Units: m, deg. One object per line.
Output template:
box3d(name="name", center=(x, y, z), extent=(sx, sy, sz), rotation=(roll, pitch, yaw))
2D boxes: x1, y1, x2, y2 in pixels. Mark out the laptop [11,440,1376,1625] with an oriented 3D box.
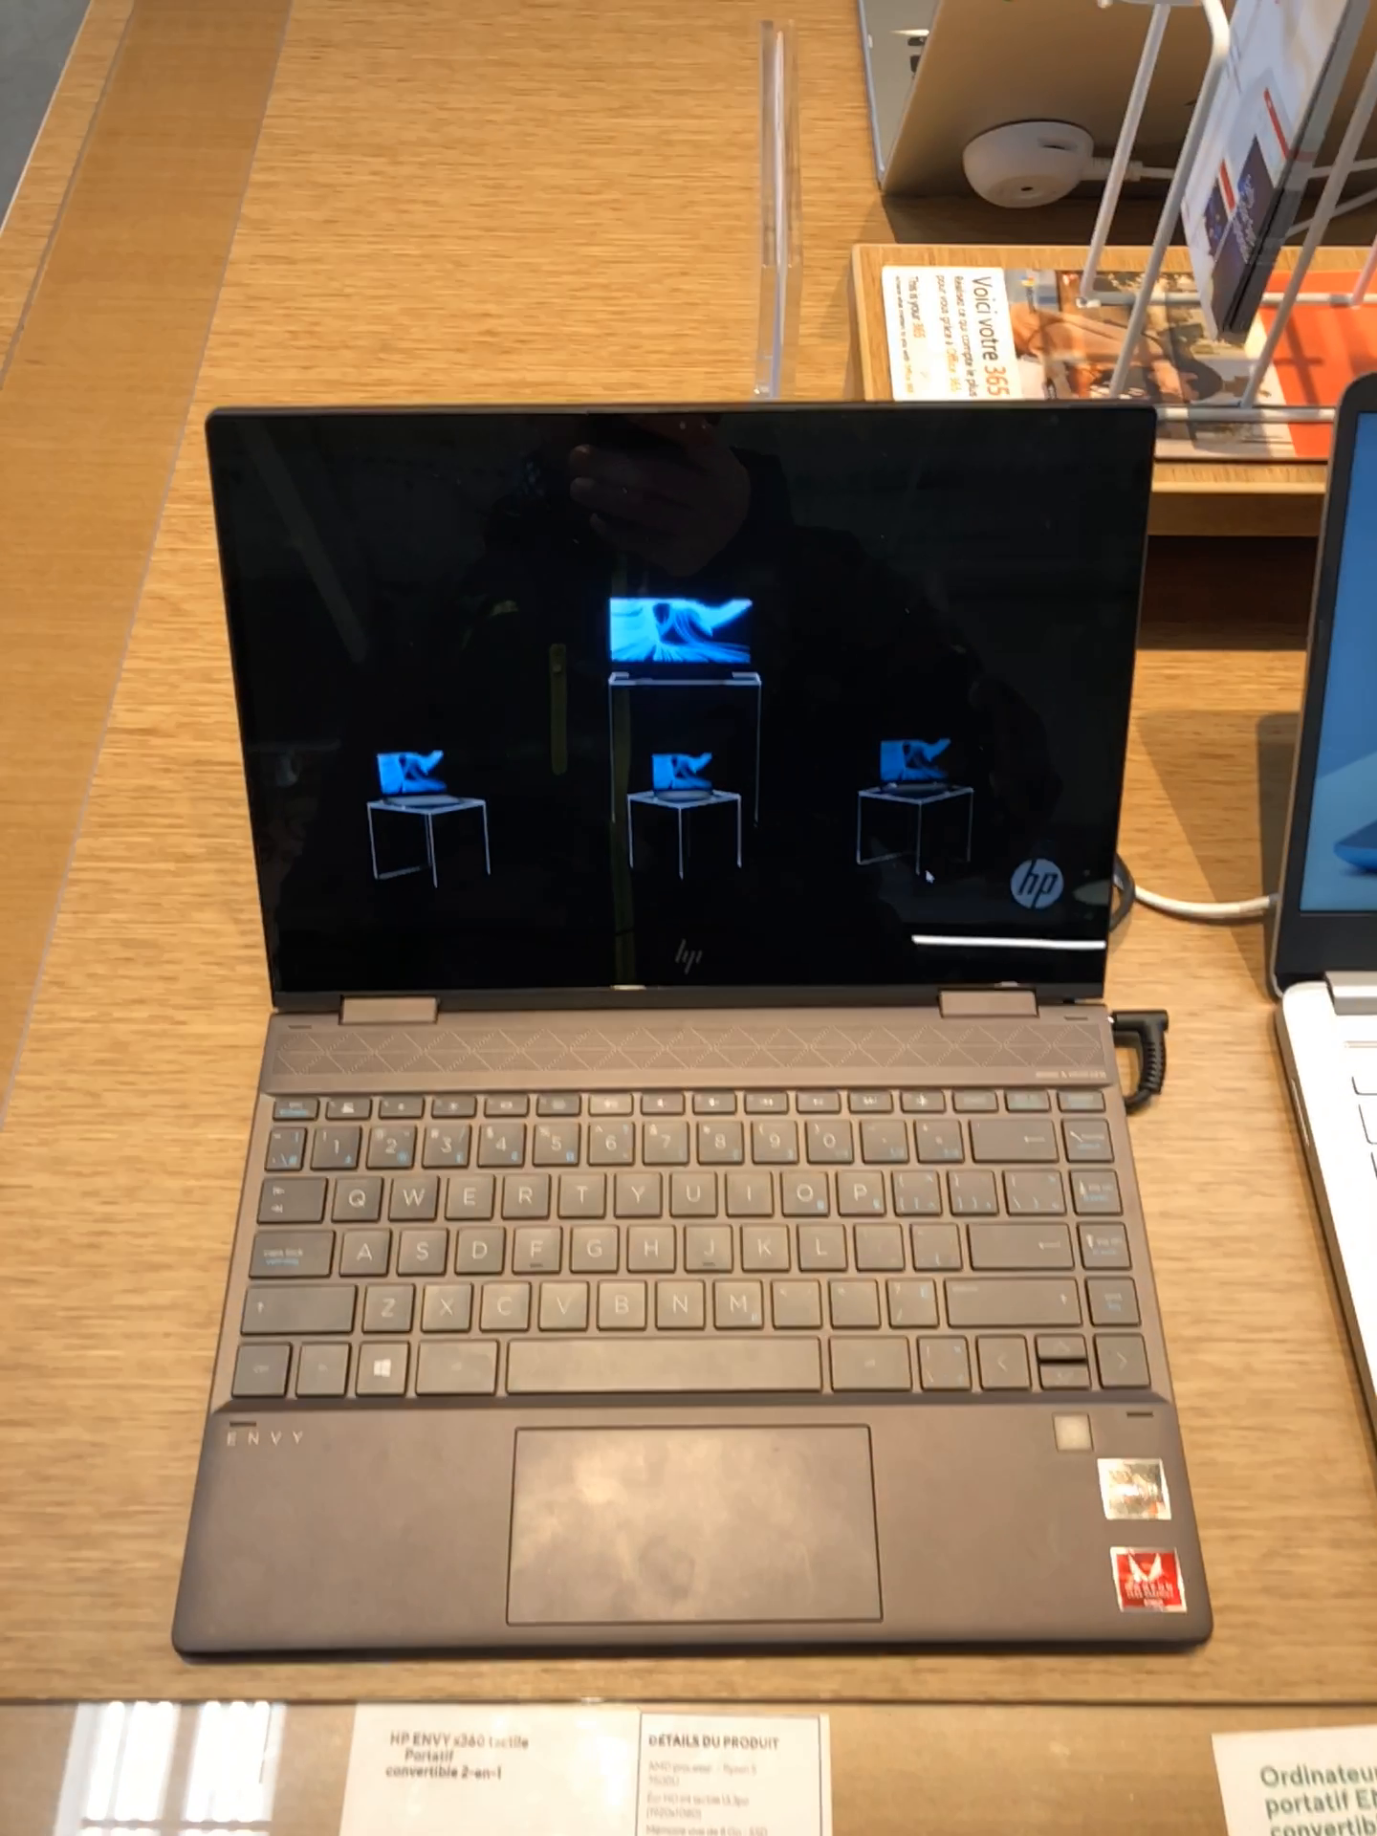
box3d(name="laptop", center=(0.007, 0.029, 0.465), extent=(0.293, 0.163, 0.318), rotation=(-1, 58, 0))
